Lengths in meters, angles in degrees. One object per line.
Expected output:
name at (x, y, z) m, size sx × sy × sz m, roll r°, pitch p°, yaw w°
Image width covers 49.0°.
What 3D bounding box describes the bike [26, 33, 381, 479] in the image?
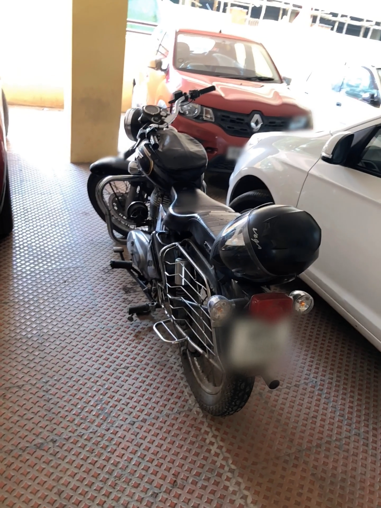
bike at (-0.219, -0.191, 2.029) m, size 0.692 × 1.217 × 1.791 m, roll -8°, pitch 35°, yaw -29°
